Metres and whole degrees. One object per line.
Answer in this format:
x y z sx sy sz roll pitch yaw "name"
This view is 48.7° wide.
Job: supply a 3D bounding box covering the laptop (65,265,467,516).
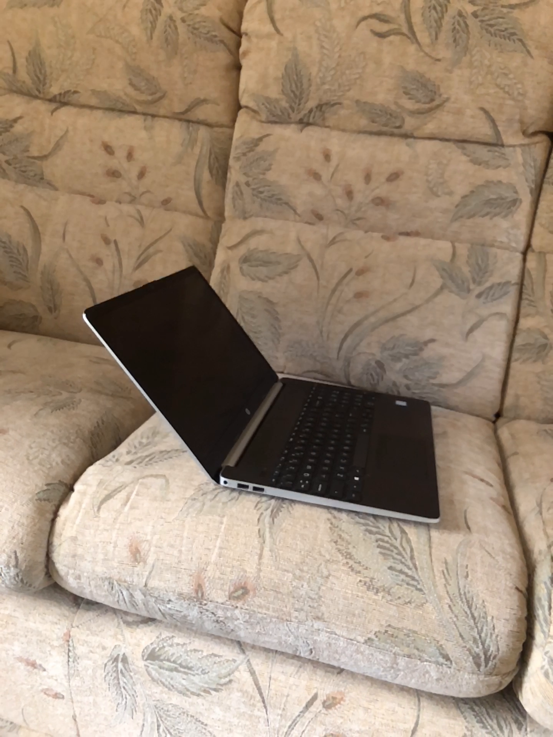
0.014 -0.002 0.783 0.397 0.163 0.340 9 21 9 "laptop"
